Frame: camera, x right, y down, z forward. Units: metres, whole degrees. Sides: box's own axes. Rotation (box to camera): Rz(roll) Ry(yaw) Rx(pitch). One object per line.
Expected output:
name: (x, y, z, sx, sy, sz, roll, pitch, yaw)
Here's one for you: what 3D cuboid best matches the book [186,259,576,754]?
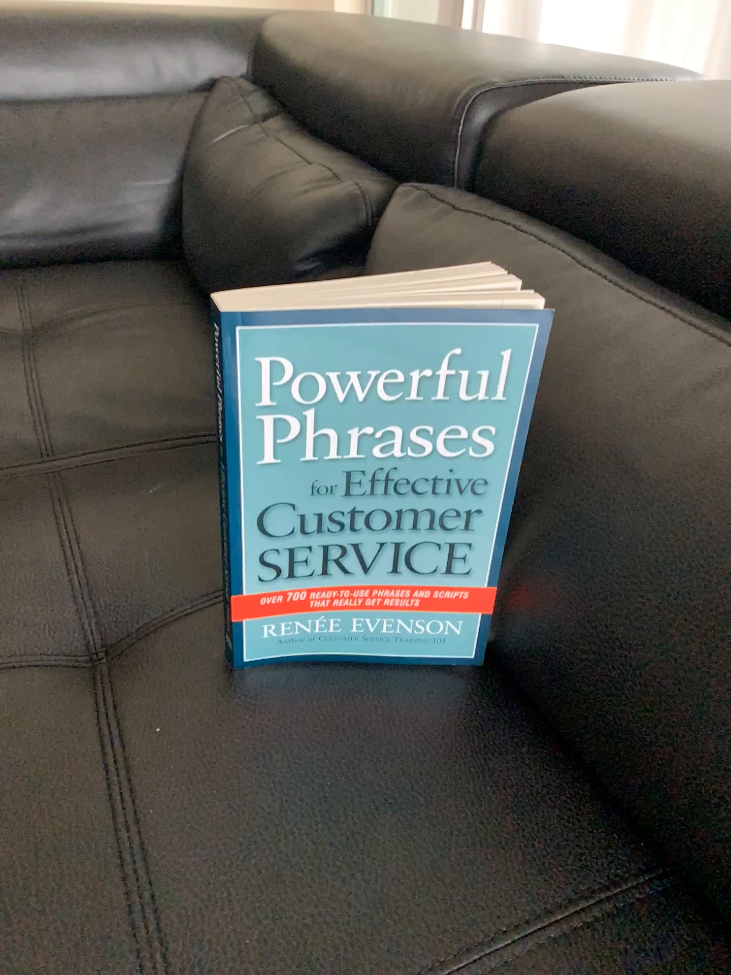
book: (0.000, 0.015, 0.417, 0.162, 0.246, 0.083, -10, 36, -18)
